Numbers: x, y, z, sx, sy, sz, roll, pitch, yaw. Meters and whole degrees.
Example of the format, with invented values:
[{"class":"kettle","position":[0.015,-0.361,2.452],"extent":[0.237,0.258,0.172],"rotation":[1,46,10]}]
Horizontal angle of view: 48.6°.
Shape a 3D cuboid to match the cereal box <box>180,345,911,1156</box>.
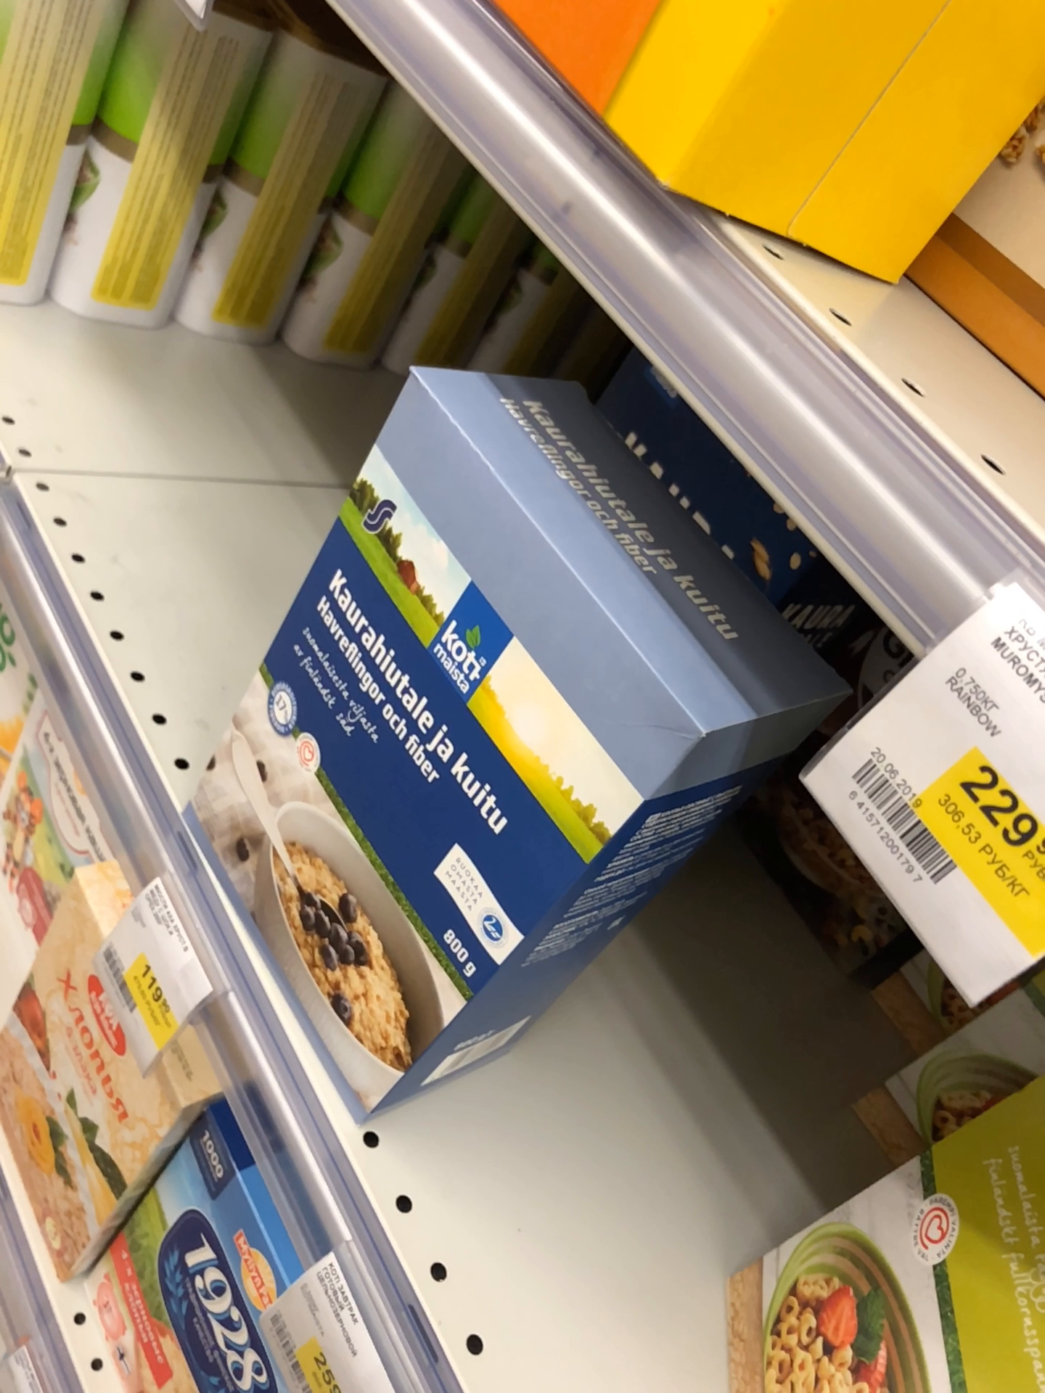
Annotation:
[{"class":"cereal box","position":[-0.012,0.023,0.390],"extent":[0.080,0.219,0.150],"rotation":[-10,55,-47]}]
